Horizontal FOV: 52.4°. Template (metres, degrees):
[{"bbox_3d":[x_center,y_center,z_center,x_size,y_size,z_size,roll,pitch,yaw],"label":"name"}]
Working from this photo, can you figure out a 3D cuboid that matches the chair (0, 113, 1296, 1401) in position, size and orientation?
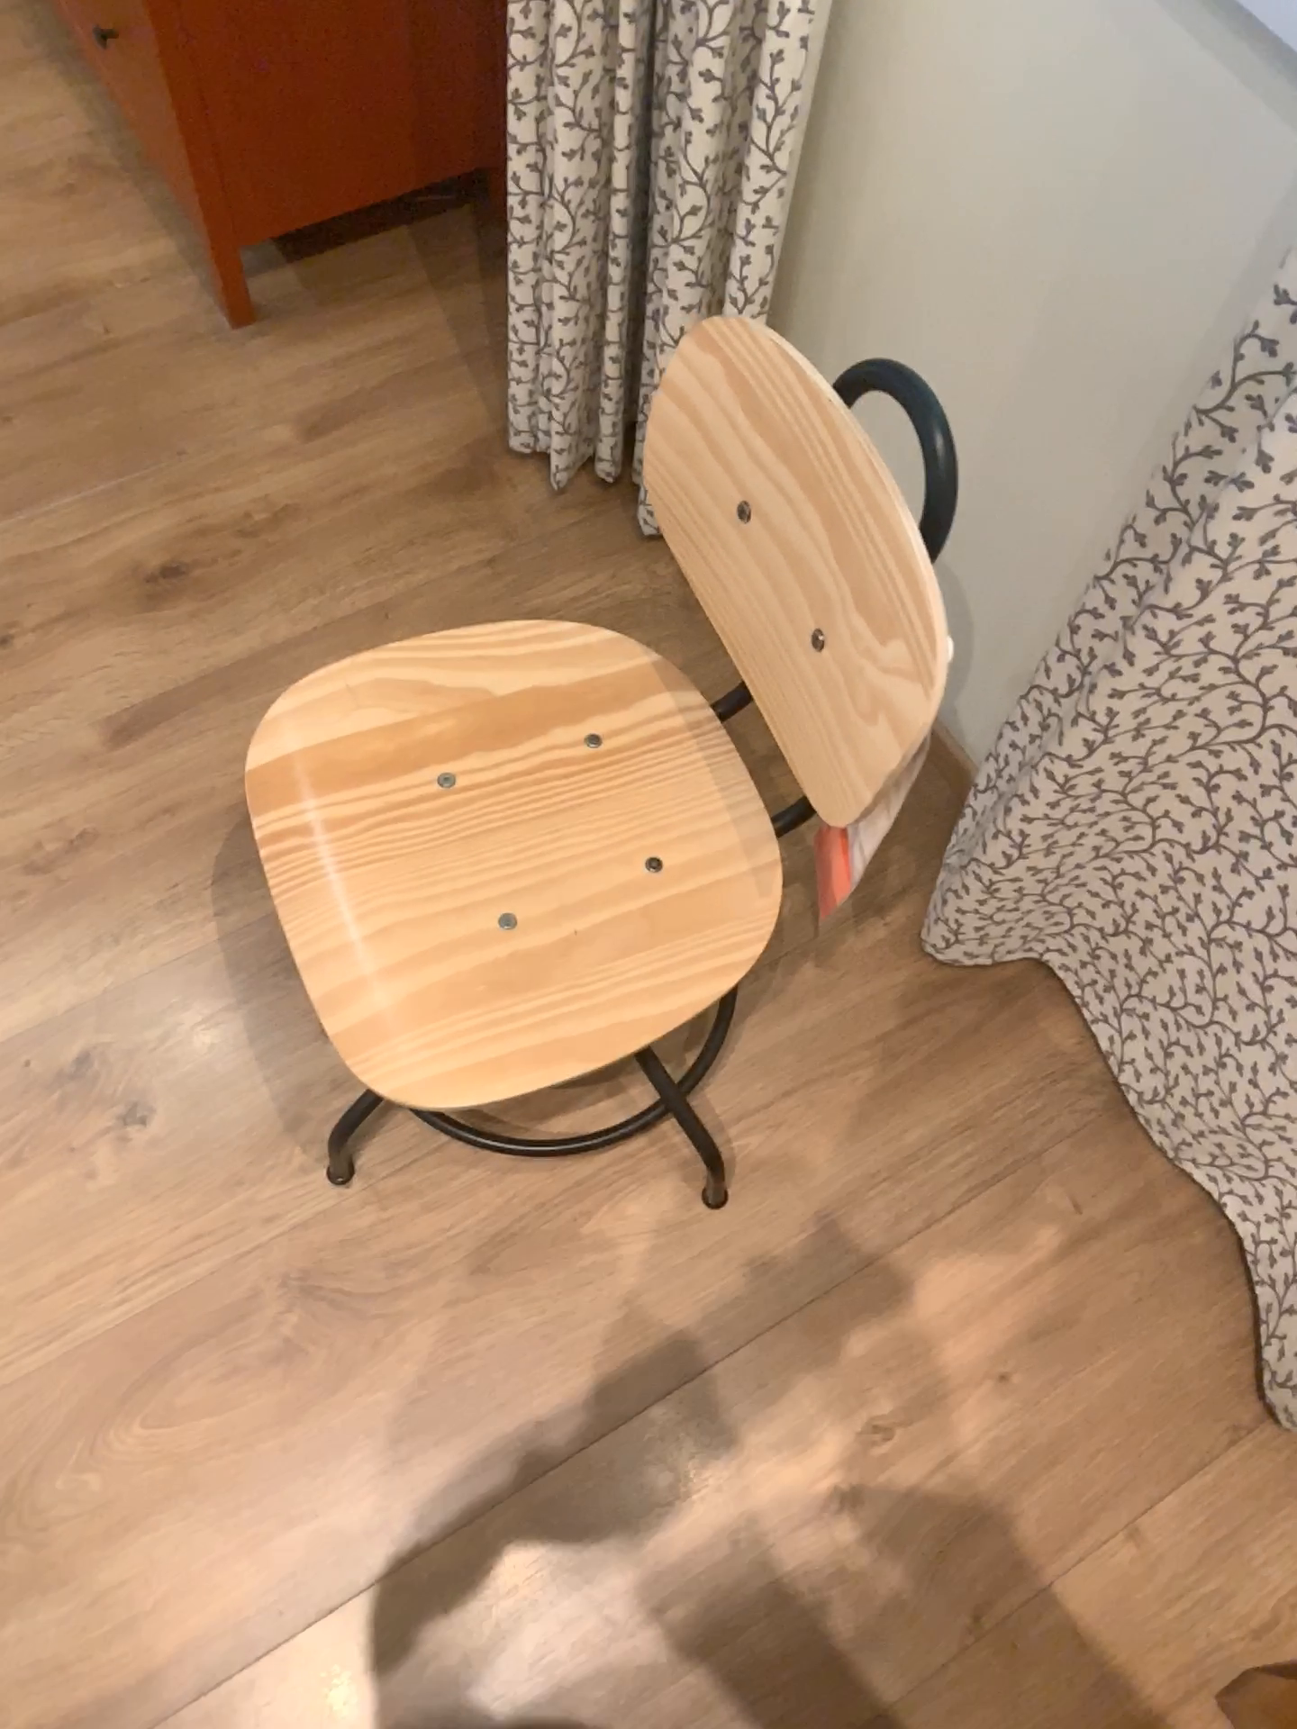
[{"bbox_3d":[-0.087,-0.025,0.993,0.620,0.649,0.561,-19,67,-13],"label":"chair"}]
